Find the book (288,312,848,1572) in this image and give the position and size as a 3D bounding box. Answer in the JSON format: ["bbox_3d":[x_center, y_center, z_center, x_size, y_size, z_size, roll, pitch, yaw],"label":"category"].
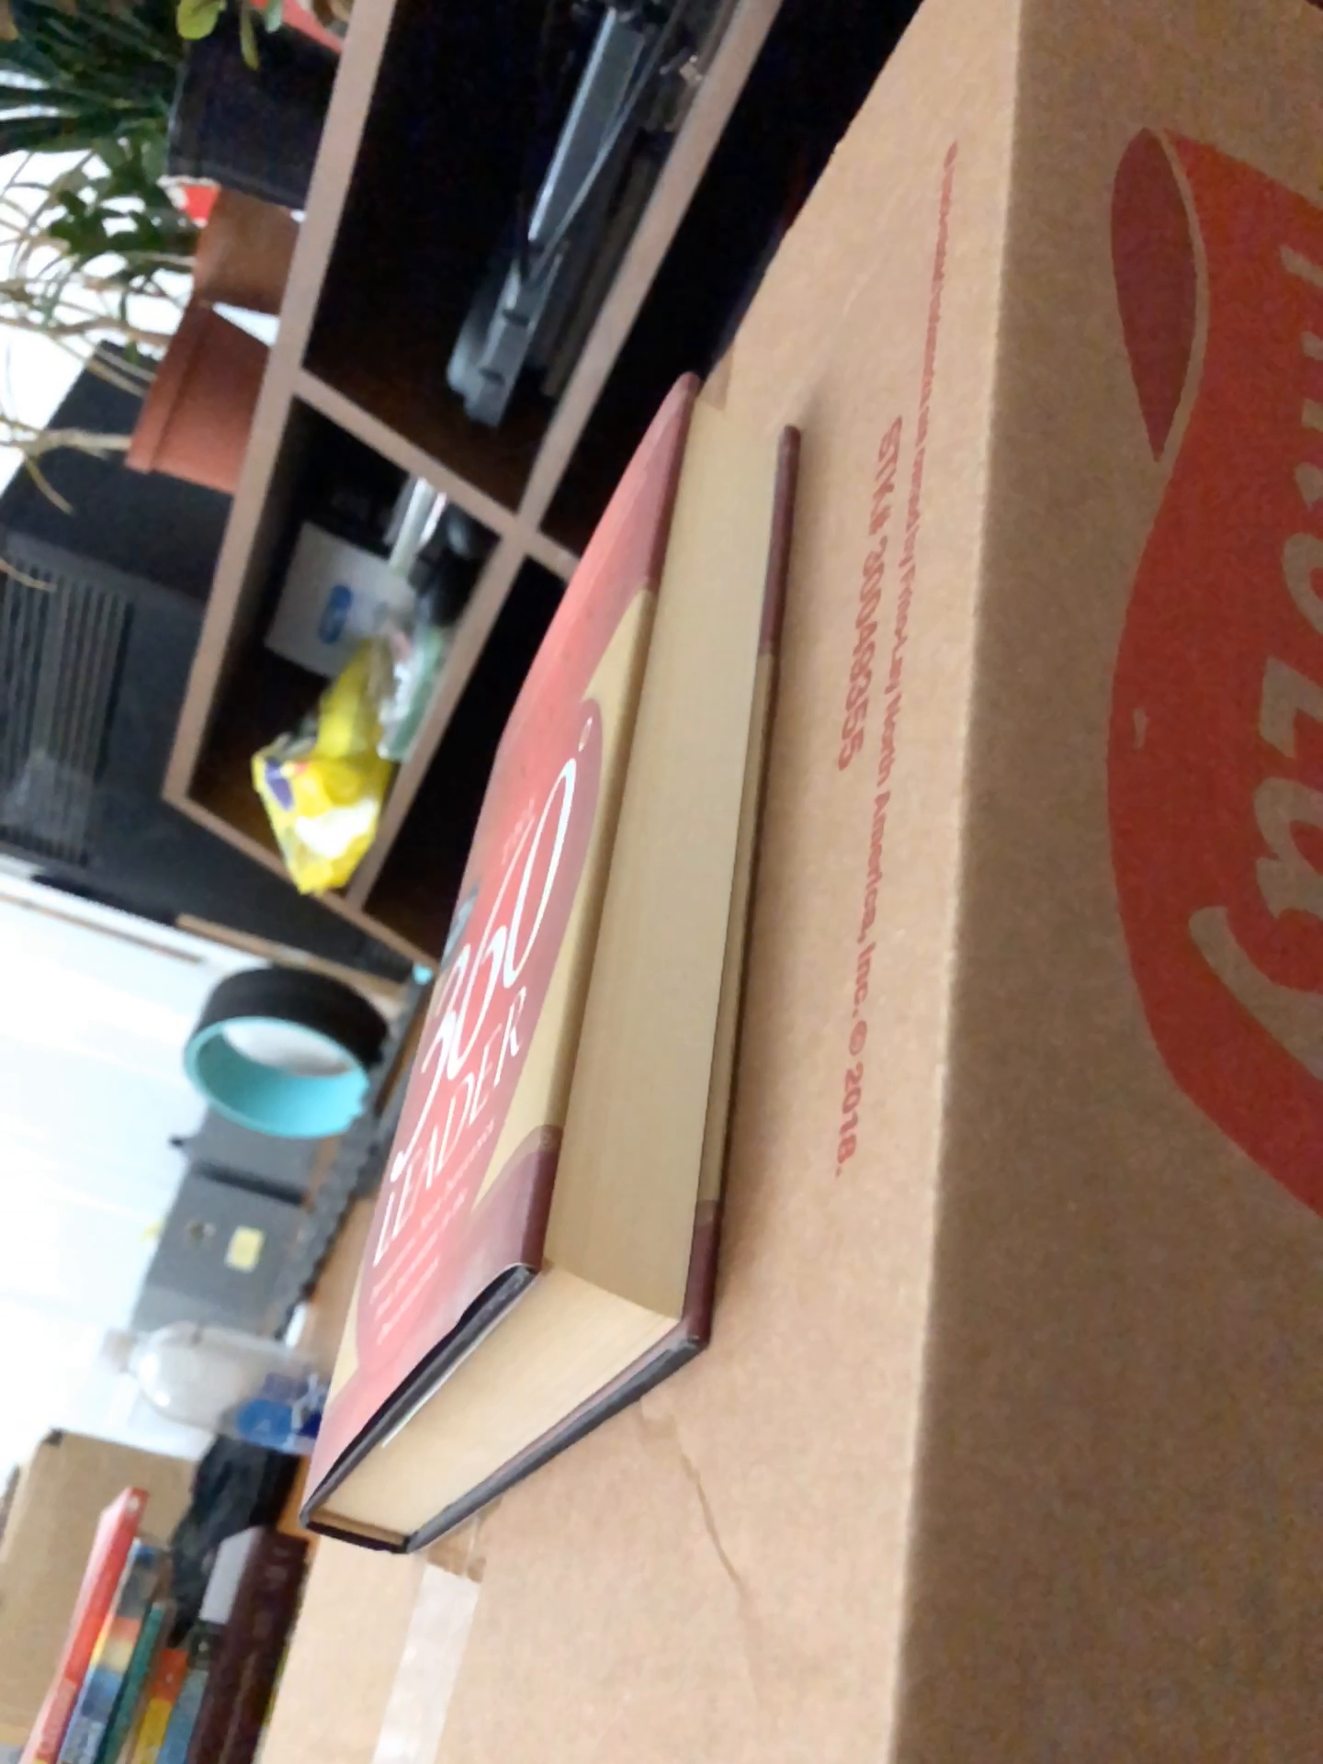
[{"bbox_3d":[-0.020,0.012,0.342,0.180,0.030,0.241,126,160,-49],"label":"book"}]
